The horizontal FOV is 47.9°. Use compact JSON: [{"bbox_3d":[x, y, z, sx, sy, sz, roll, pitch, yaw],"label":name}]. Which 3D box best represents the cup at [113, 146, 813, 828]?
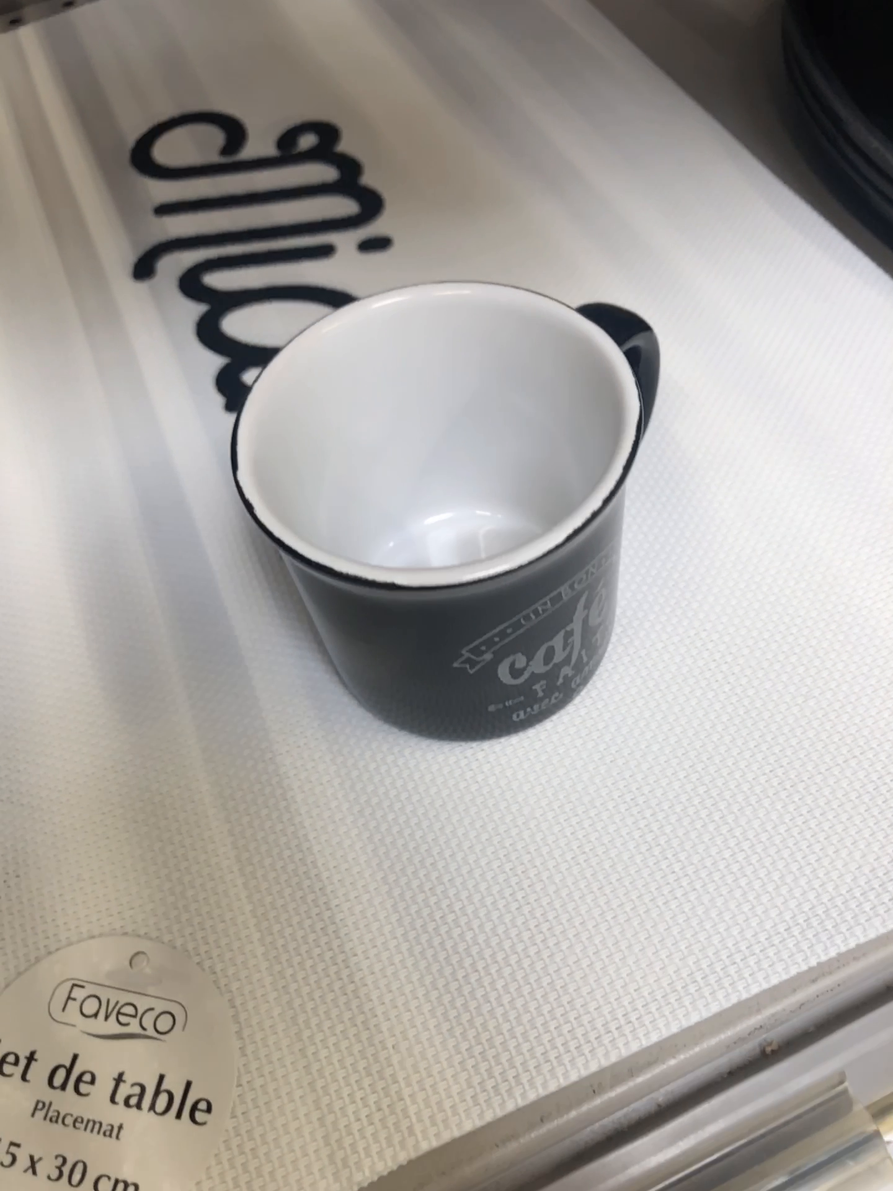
[{"bbox_3d":[0.006,-0.024,0.203,0.101,0.064,0.075,-42,61,-19],"label":"cup"}]
